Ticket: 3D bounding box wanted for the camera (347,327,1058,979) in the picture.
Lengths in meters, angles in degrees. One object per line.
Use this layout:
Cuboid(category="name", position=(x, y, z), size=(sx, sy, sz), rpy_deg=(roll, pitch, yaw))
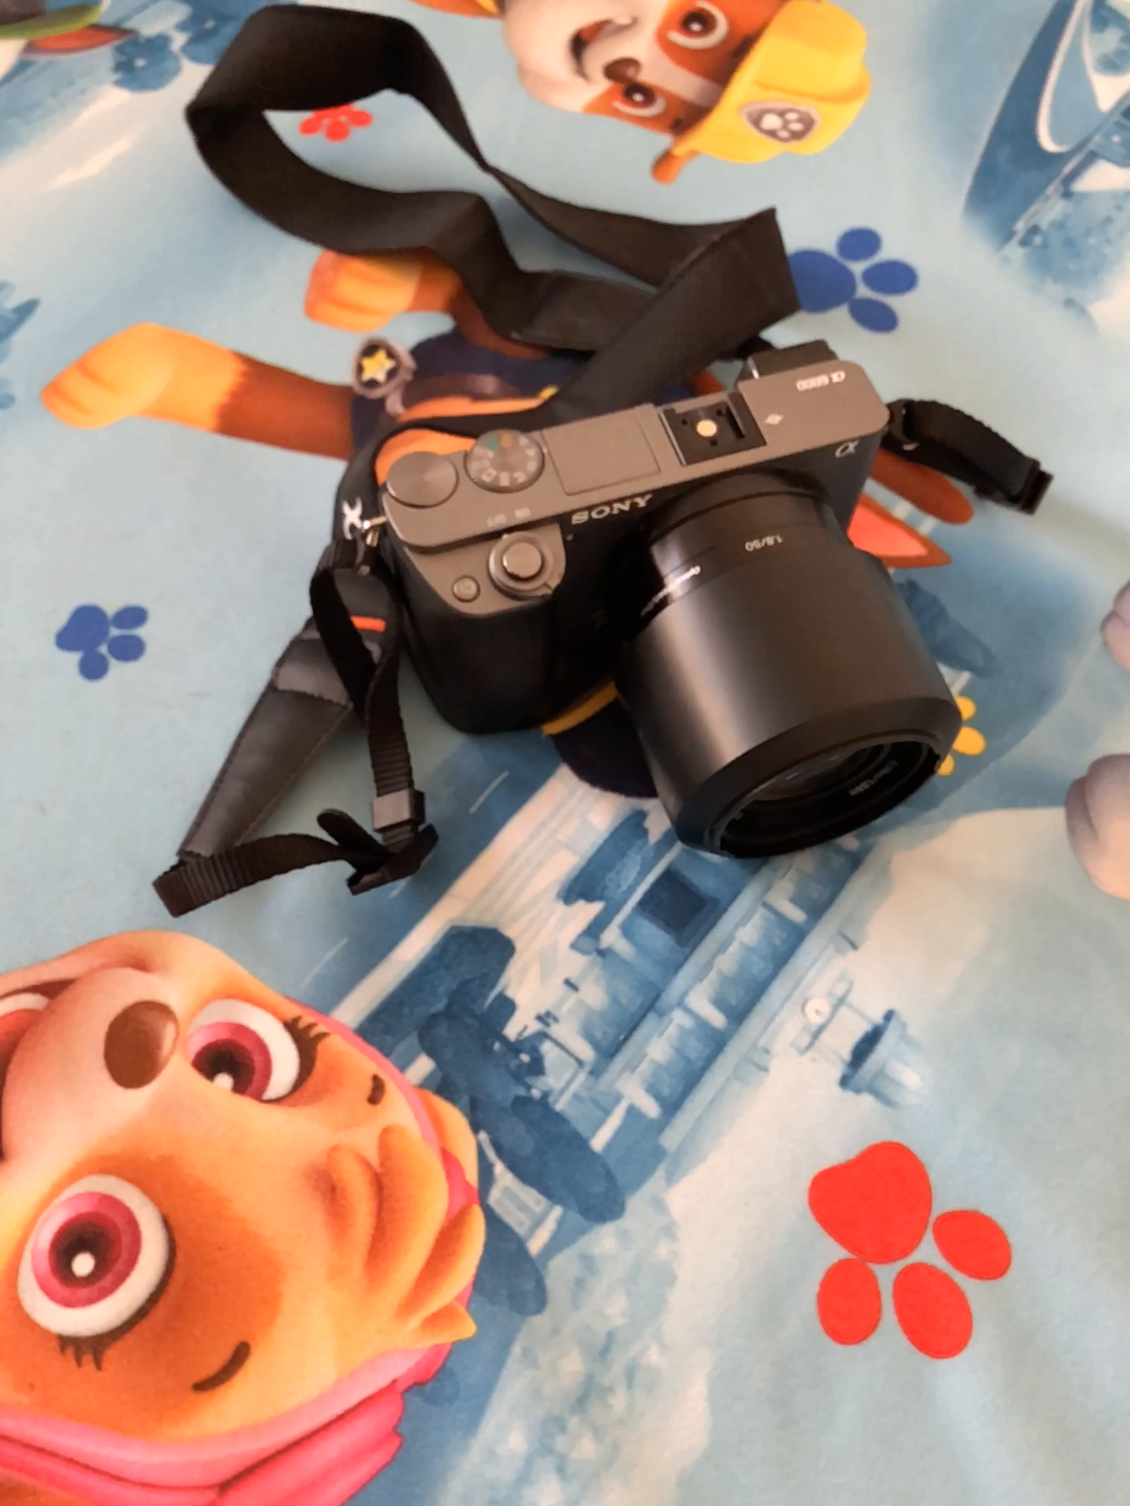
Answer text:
Cuboid(category="camera", position=(0.027, -0.025, 0.321), size=(0.130, 0.080, 0.110), rpy_deg=(-16, 62, -8))
